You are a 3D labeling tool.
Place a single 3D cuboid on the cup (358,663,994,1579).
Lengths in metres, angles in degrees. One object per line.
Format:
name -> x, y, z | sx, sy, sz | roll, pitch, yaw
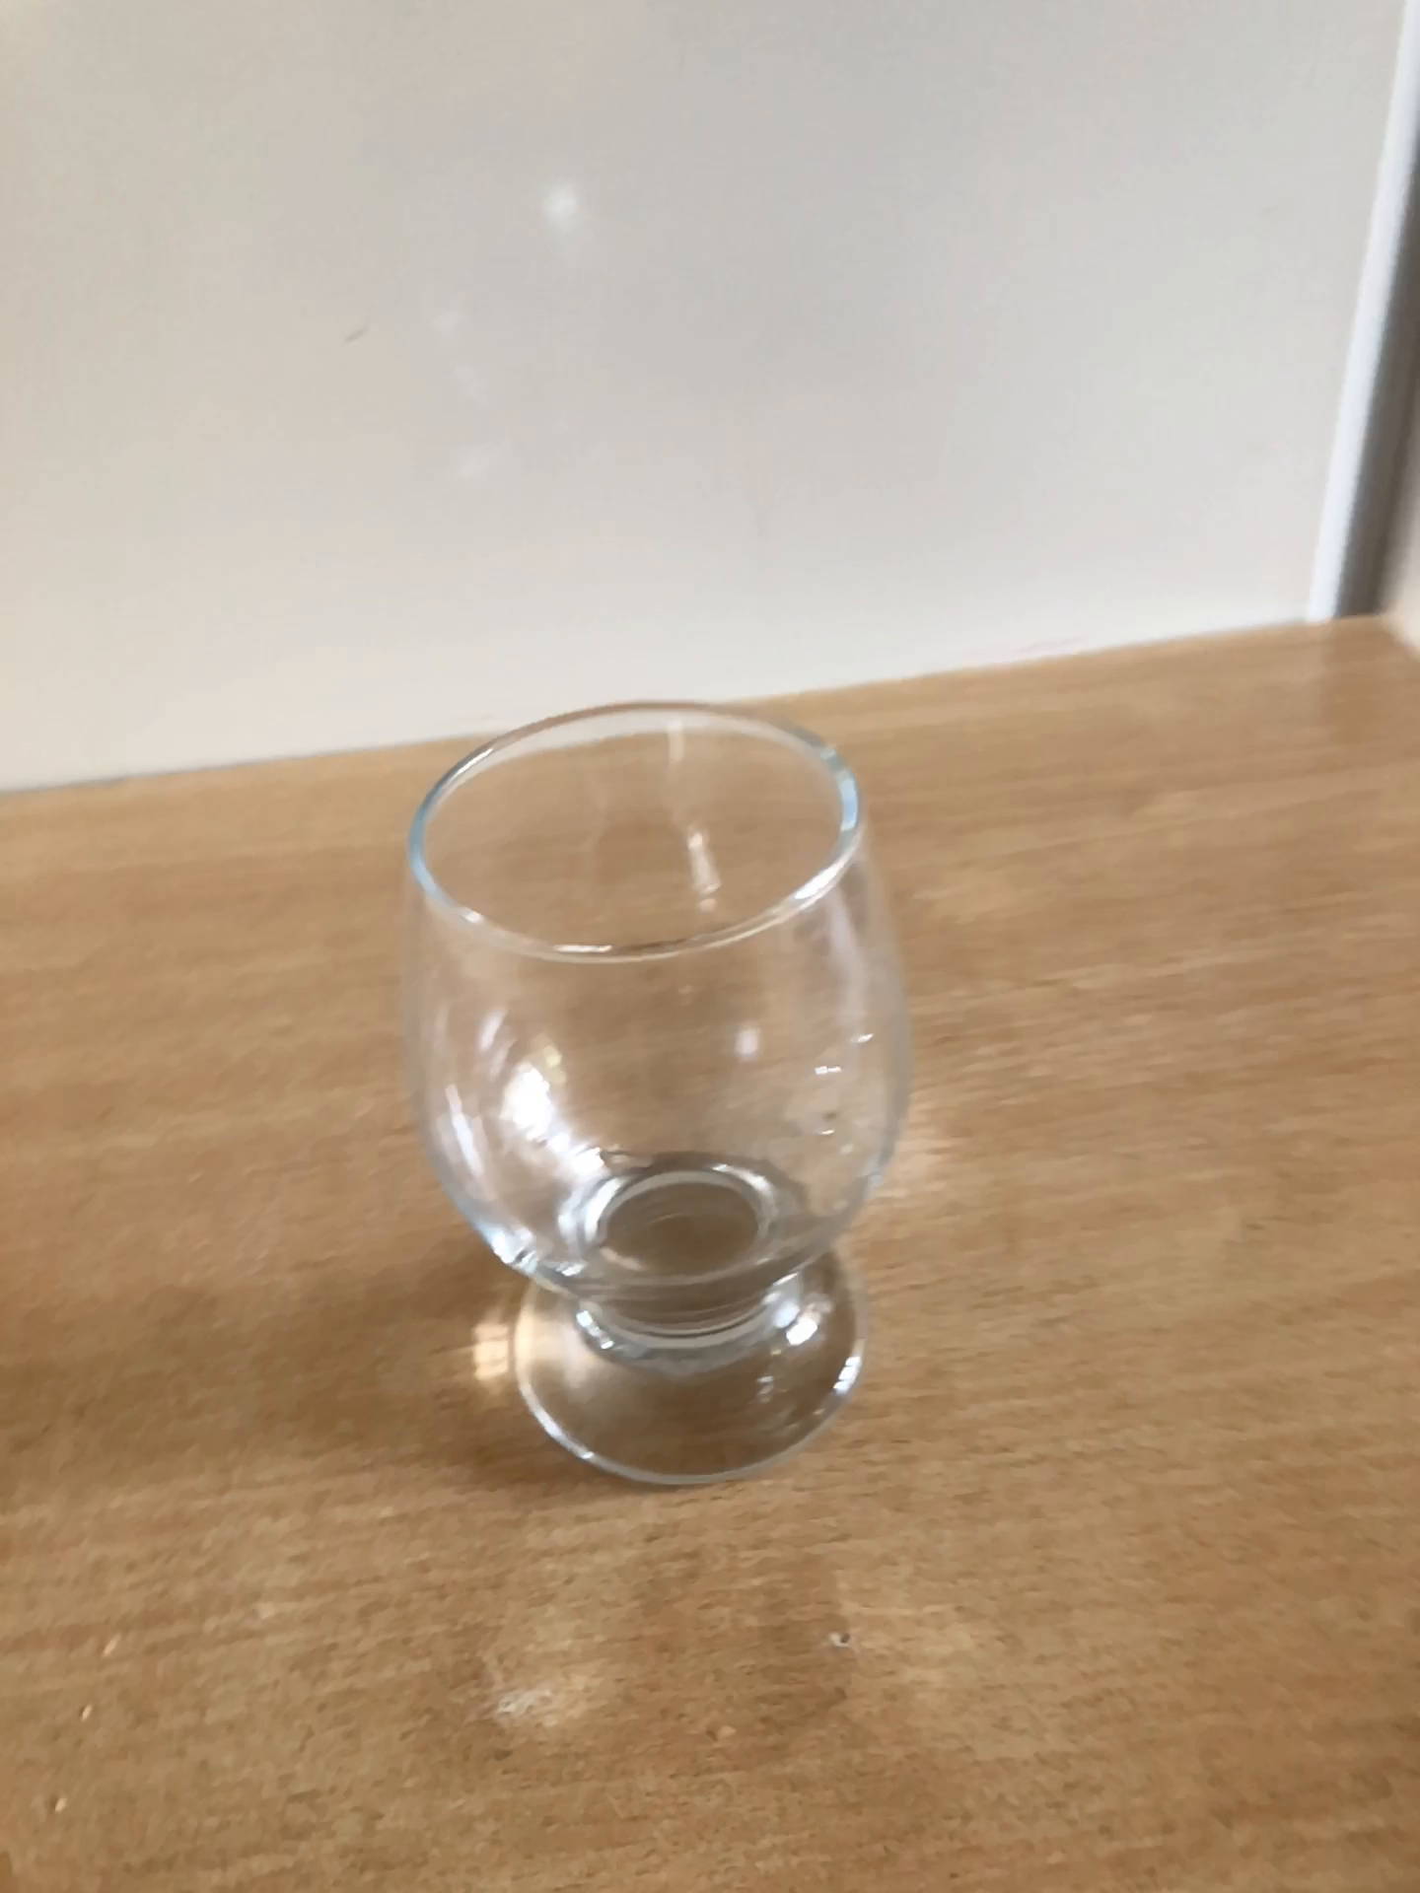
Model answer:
cup -> -0.006, 0.026, 0.246 | 0.074, 0.105, 0.077 | -3, 37, 2
